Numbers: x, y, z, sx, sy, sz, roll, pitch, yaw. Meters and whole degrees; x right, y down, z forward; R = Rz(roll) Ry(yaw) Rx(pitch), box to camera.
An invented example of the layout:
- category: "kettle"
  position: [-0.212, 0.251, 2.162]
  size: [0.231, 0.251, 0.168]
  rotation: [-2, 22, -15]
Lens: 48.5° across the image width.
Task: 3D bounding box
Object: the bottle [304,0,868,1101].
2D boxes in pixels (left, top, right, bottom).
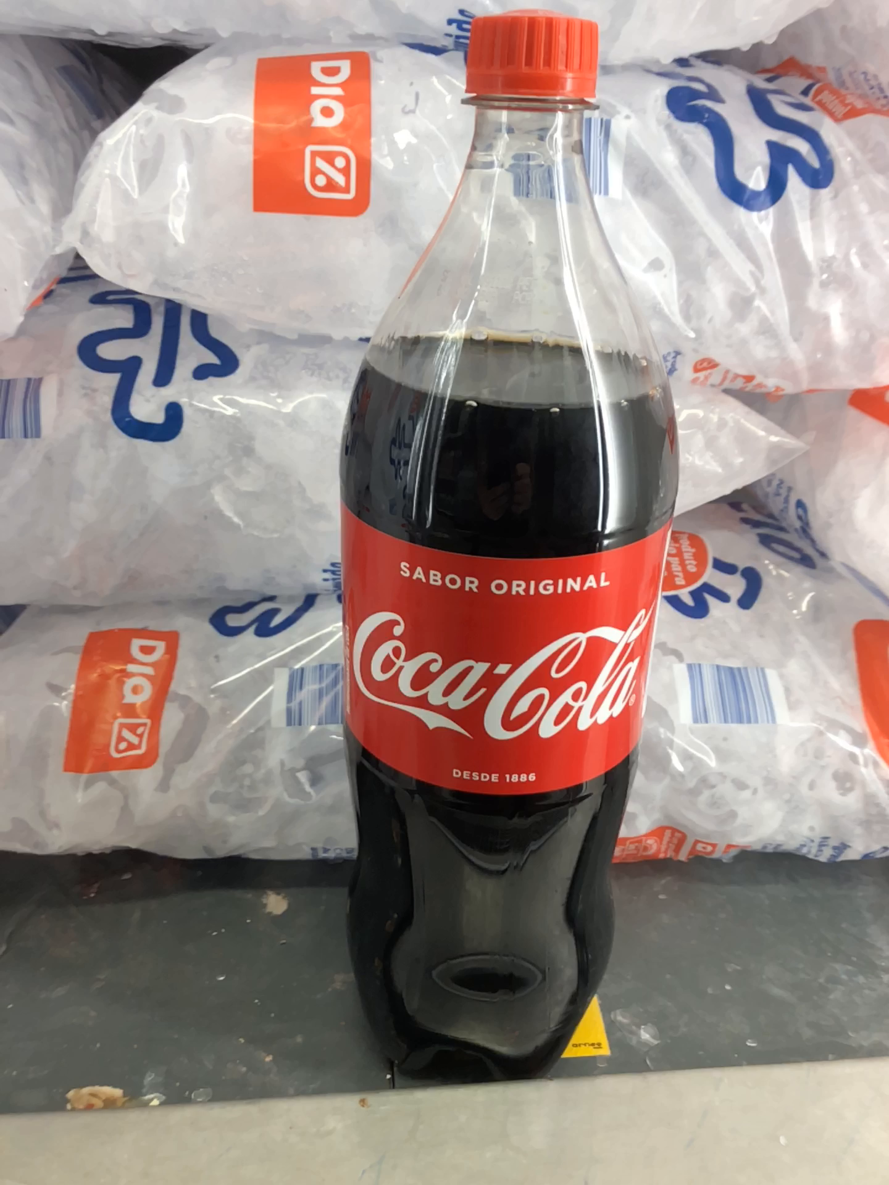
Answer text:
- category: "bottle"
  position: [0.021, 0.006, 0.276]
  size: [0.100, 0.288, 0.081]
  rotation: [4, 27, 2]
